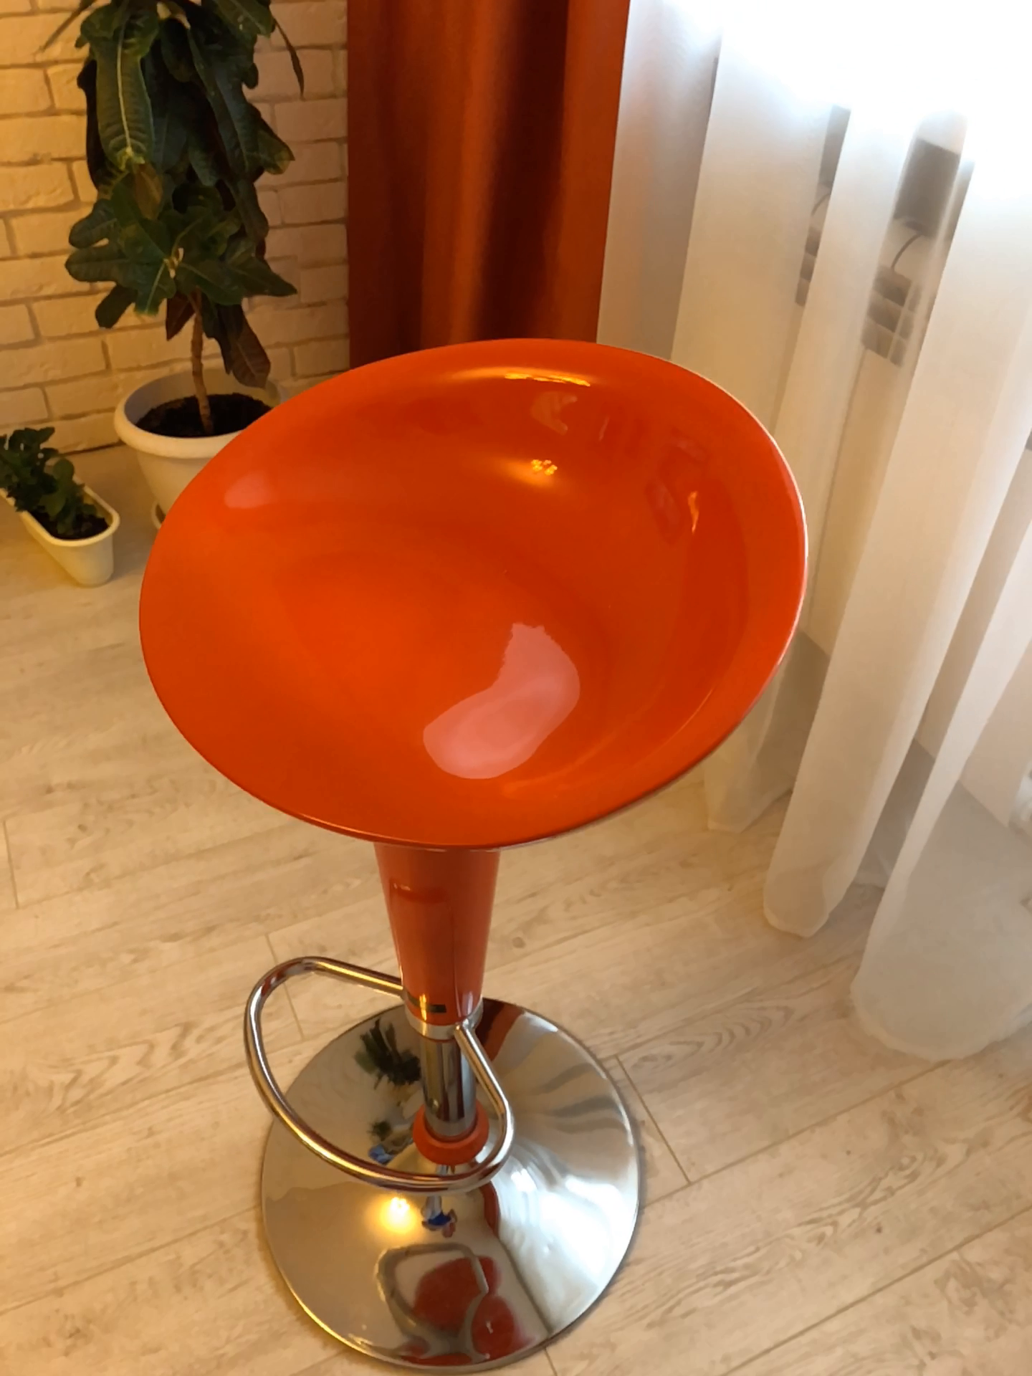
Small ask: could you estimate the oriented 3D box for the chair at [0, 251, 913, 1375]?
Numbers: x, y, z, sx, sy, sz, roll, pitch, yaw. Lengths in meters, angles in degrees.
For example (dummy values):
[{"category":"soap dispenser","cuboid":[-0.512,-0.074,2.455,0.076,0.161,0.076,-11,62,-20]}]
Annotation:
[{"category":"chair","cuboid":[-0.059,0.142,0.848,0.410,0.725,0.422,23,44,23]}]
